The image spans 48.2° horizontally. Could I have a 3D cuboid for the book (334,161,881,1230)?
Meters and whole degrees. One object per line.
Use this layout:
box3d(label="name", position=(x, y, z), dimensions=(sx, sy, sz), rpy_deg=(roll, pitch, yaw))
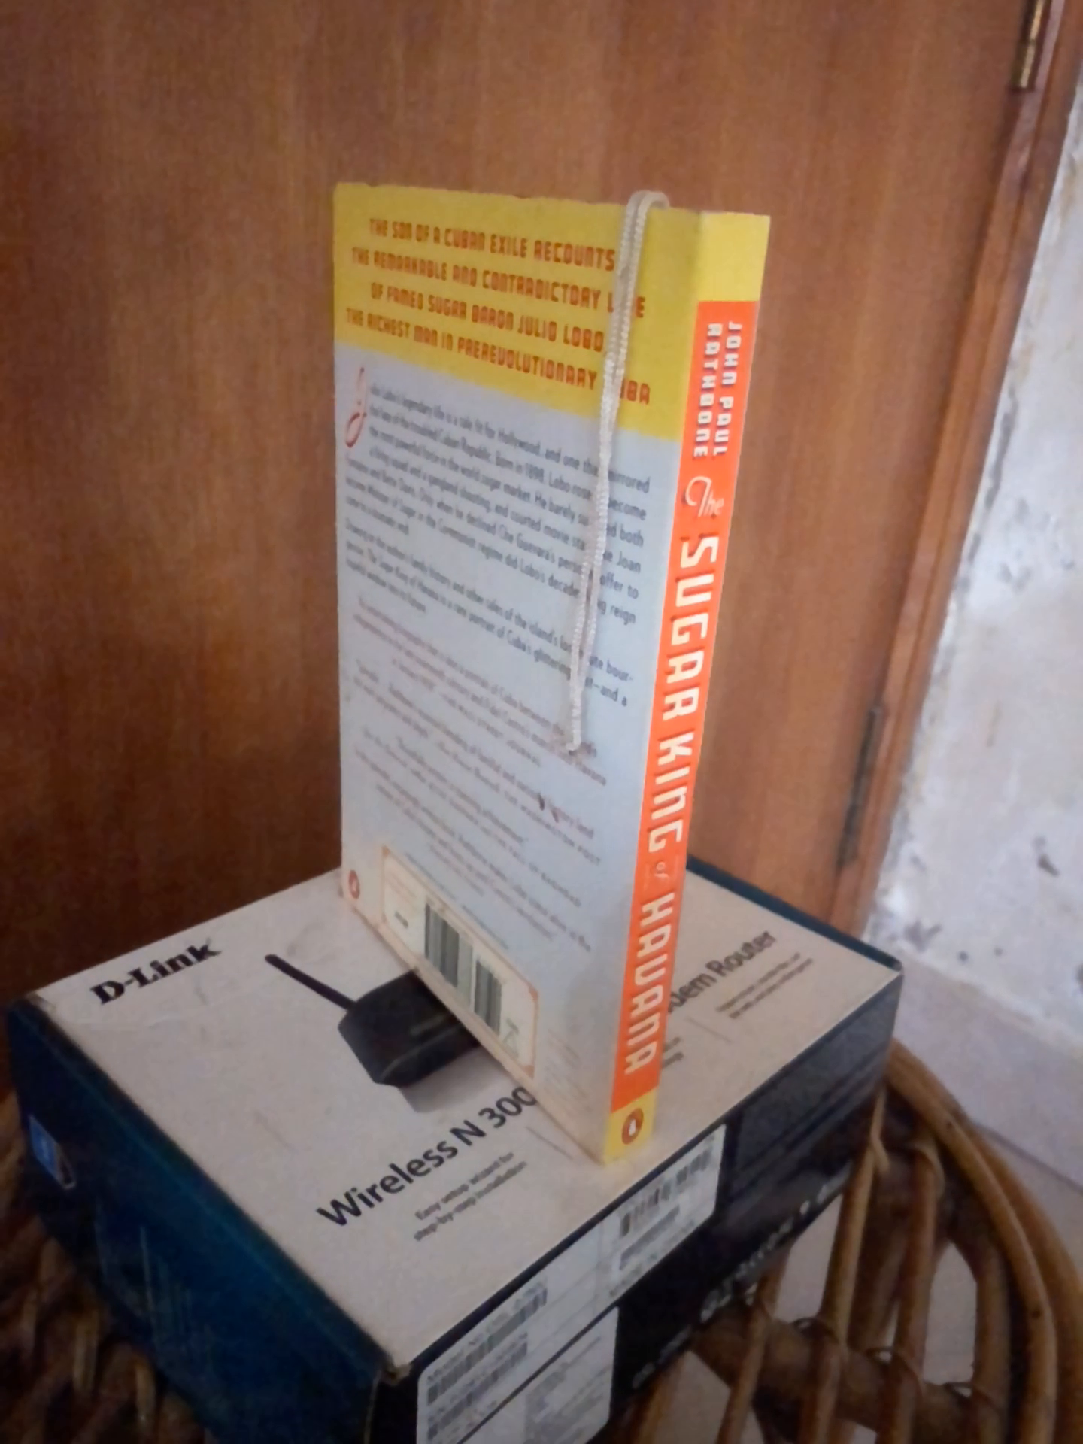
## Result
box3d(label="book", position=(-0.003, -0.014, 0.288), dimensions=(0.030, 0.209, 0.150), rpy_deg=(-13, 30, -30))
